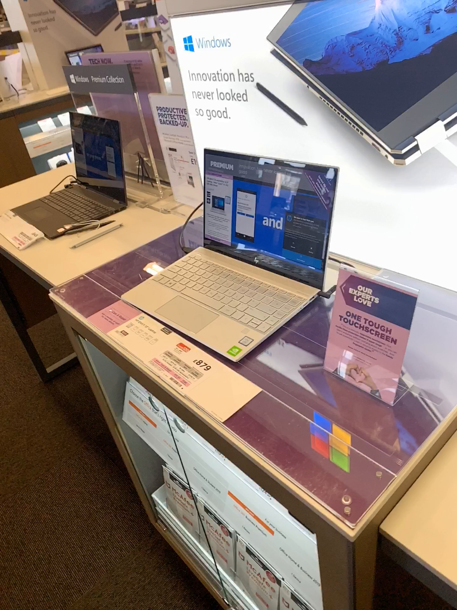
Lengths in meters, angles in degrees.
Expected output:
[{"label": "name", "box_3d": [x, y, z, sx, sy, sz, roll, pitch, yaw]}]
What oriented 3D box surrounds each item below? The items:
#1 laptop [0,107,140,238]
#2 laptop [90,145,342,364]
[{"label": "laptop", "box_3d": [-0.519, -0.425, 1.461, 0.313, 0.236, 0.300, -35, 43, -30]}, {"label": "laptop", "box_3d": [-0.015, -0.109, 0.767, 0.261, 0.181, 0.297, -35, 41, -30]}]
